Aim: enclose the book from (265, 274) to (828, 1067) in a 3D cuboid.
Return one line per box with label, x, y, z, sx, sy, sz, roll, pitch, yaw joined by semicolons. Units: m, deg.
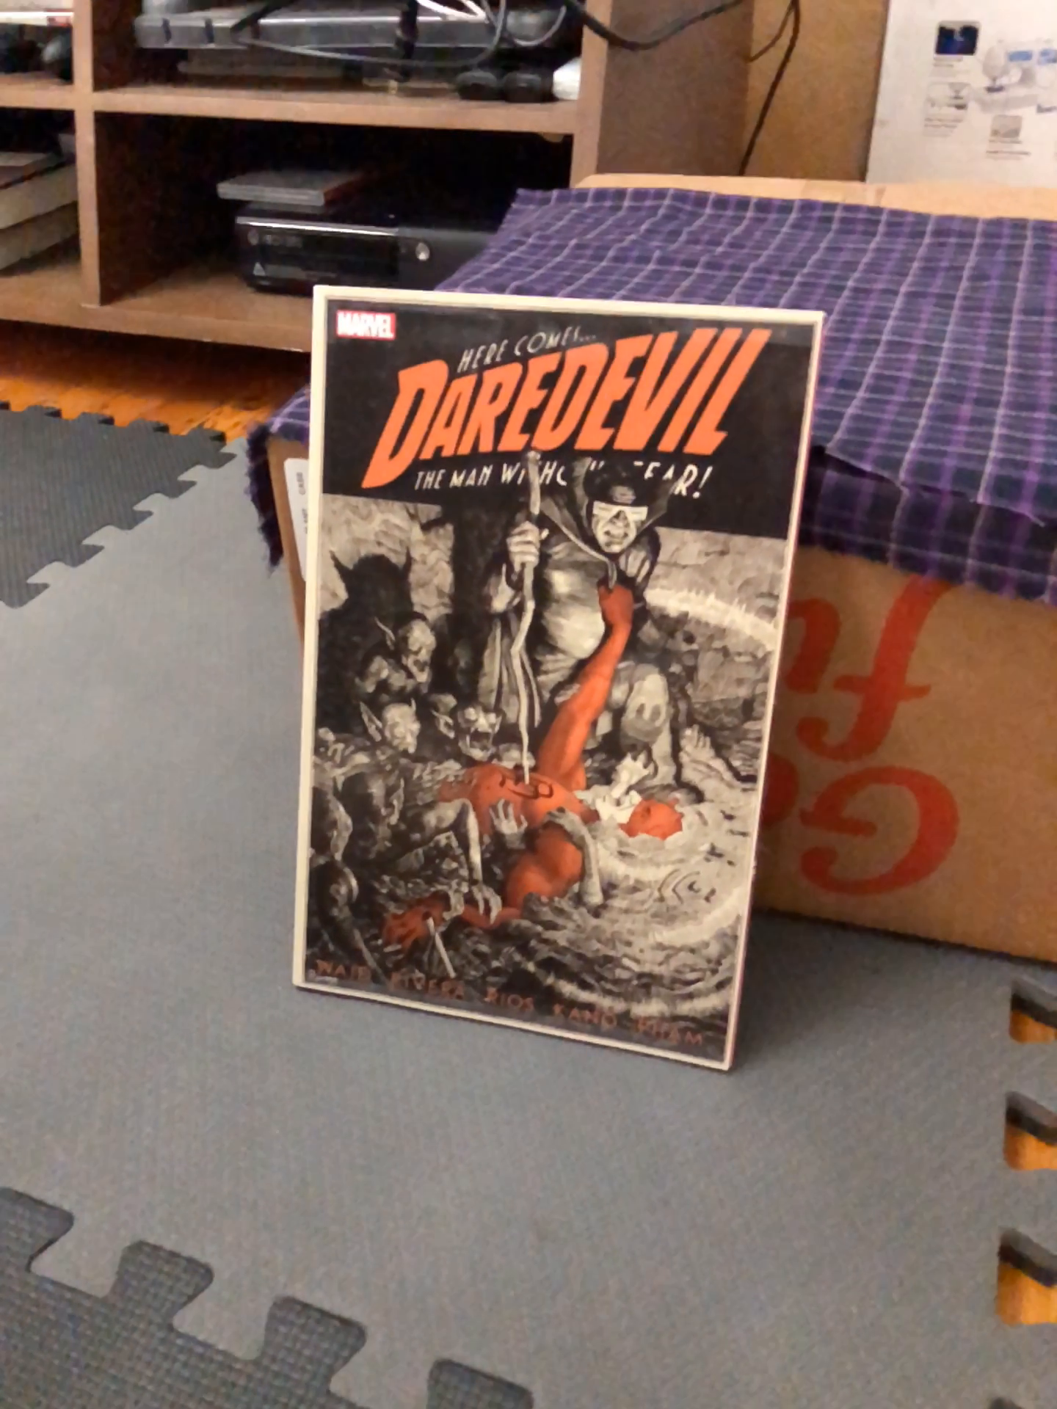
book;-0.003;-0.009;0.366;0.160;0.229;0.020;8;14;13
